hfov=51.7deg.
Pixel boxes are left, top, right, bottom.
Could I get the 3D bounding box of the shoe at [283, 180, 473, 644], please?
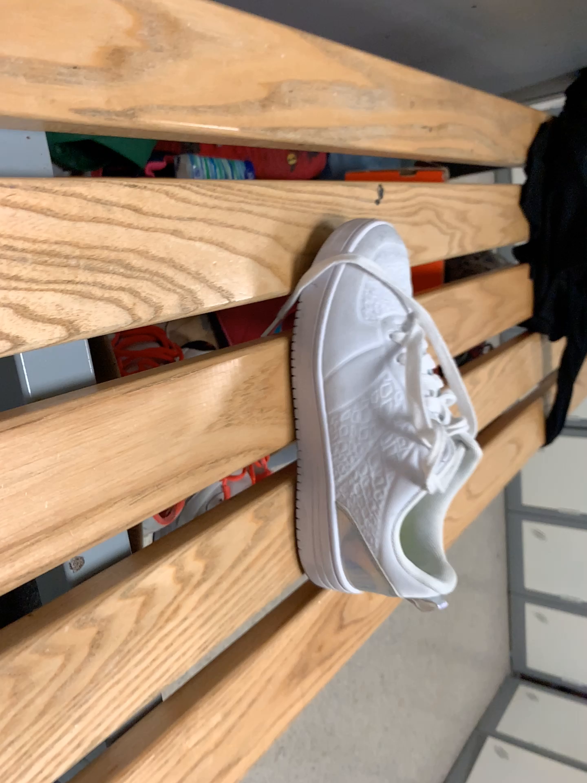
[{"bbox_3d":[0.059,0.009,0.386,0.100,0.076,0.250,-9,99,-52],"label":"shoe"}]
